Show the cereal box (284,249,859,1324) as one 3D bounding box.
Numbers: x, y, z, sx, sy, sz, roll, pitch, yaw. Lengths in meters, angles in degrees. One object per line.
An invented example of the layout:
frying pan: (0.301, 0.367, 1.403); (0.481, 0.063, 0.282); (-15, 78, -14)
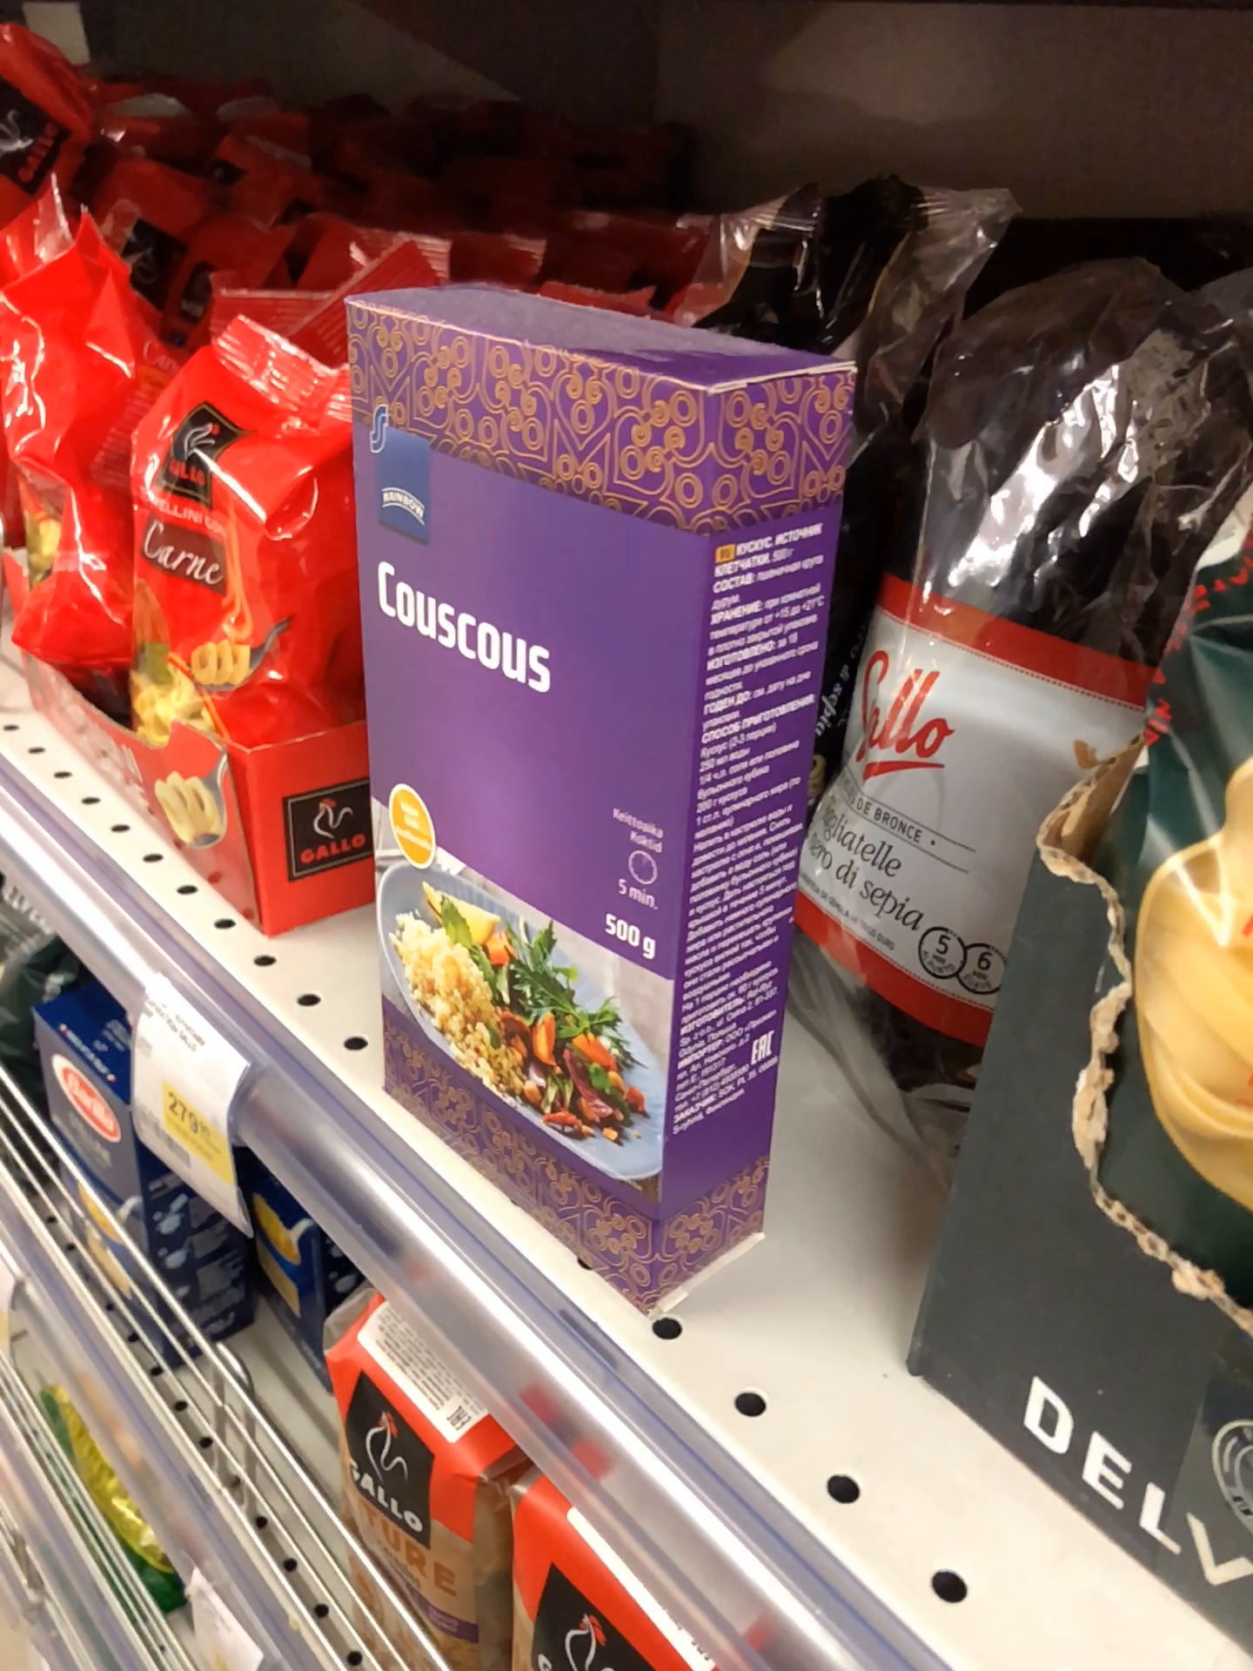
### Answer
cereal box: (-0.019, -0.010, 0.295); (0.040, 0.199, 0.110); (-22, 37, -38)
